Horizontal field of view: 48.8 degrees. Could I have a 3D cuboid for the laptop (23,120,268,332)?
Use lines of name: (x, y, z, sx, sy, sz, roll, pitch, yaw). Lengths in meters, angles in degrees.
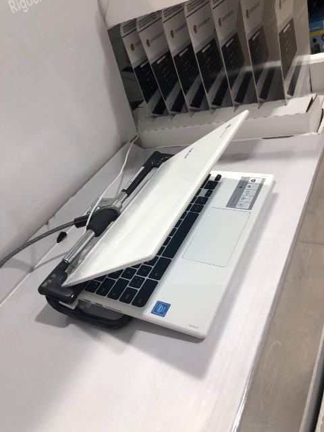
laptop: (0.000, -0.015, 0.482, 0.201, 0.091, 0.285, 4, 42, 31)
